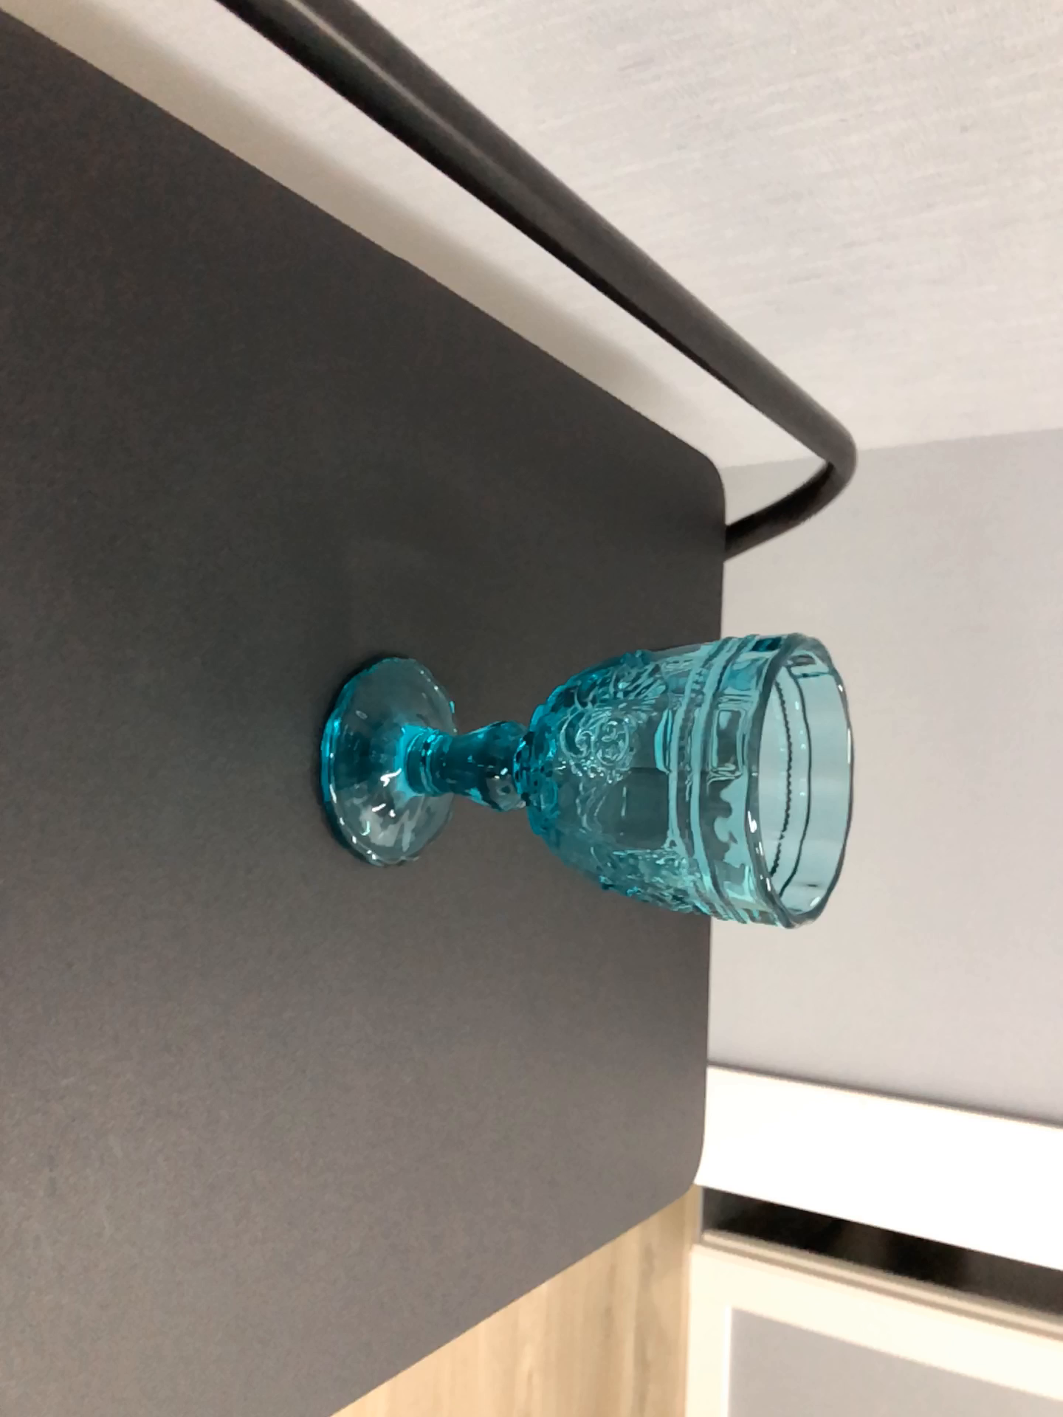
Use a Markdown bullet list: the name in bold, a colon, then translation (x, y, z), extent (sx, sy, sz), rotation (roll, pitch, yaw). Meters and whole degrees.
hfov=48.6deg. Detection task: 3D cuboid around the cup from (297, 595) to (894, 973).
- **cup**: translation (0.020, 0.023, 0.375), extent (0.085, 0.164, 0.095), rotation (12, 80, -57)
